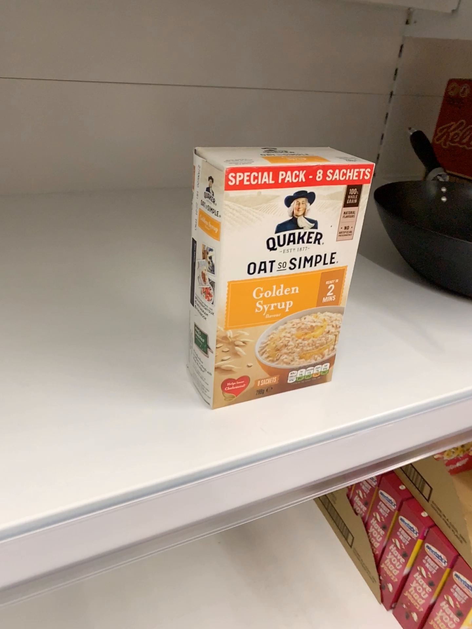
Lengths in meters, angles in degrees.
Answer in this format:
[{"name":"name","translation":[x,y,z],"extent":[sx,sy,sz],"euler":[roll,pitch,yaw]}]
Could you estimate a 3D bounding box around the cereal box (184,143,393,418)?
[{"name":"cereal box","translation":[0.035,-0.032,0.416],"extent":[0.140,0.208,0.070],"euler":[-9,30,-24]}]
